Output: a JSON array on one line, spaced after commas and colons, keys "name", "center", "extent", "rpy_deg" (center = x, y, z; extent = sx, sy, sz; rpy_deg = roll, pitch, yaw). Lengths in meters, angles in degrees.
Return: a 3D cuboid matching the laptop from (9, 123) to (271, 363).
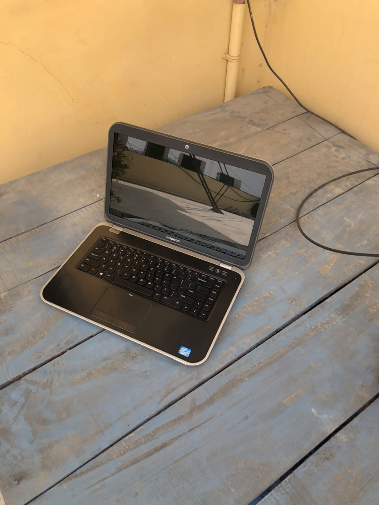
[{"name": "laptop", "center": [-0.075, -0.041, 0.819], "extent": [0.352, 0.209, 0.334], "rpy_deg": [19, 51, 17]}]
